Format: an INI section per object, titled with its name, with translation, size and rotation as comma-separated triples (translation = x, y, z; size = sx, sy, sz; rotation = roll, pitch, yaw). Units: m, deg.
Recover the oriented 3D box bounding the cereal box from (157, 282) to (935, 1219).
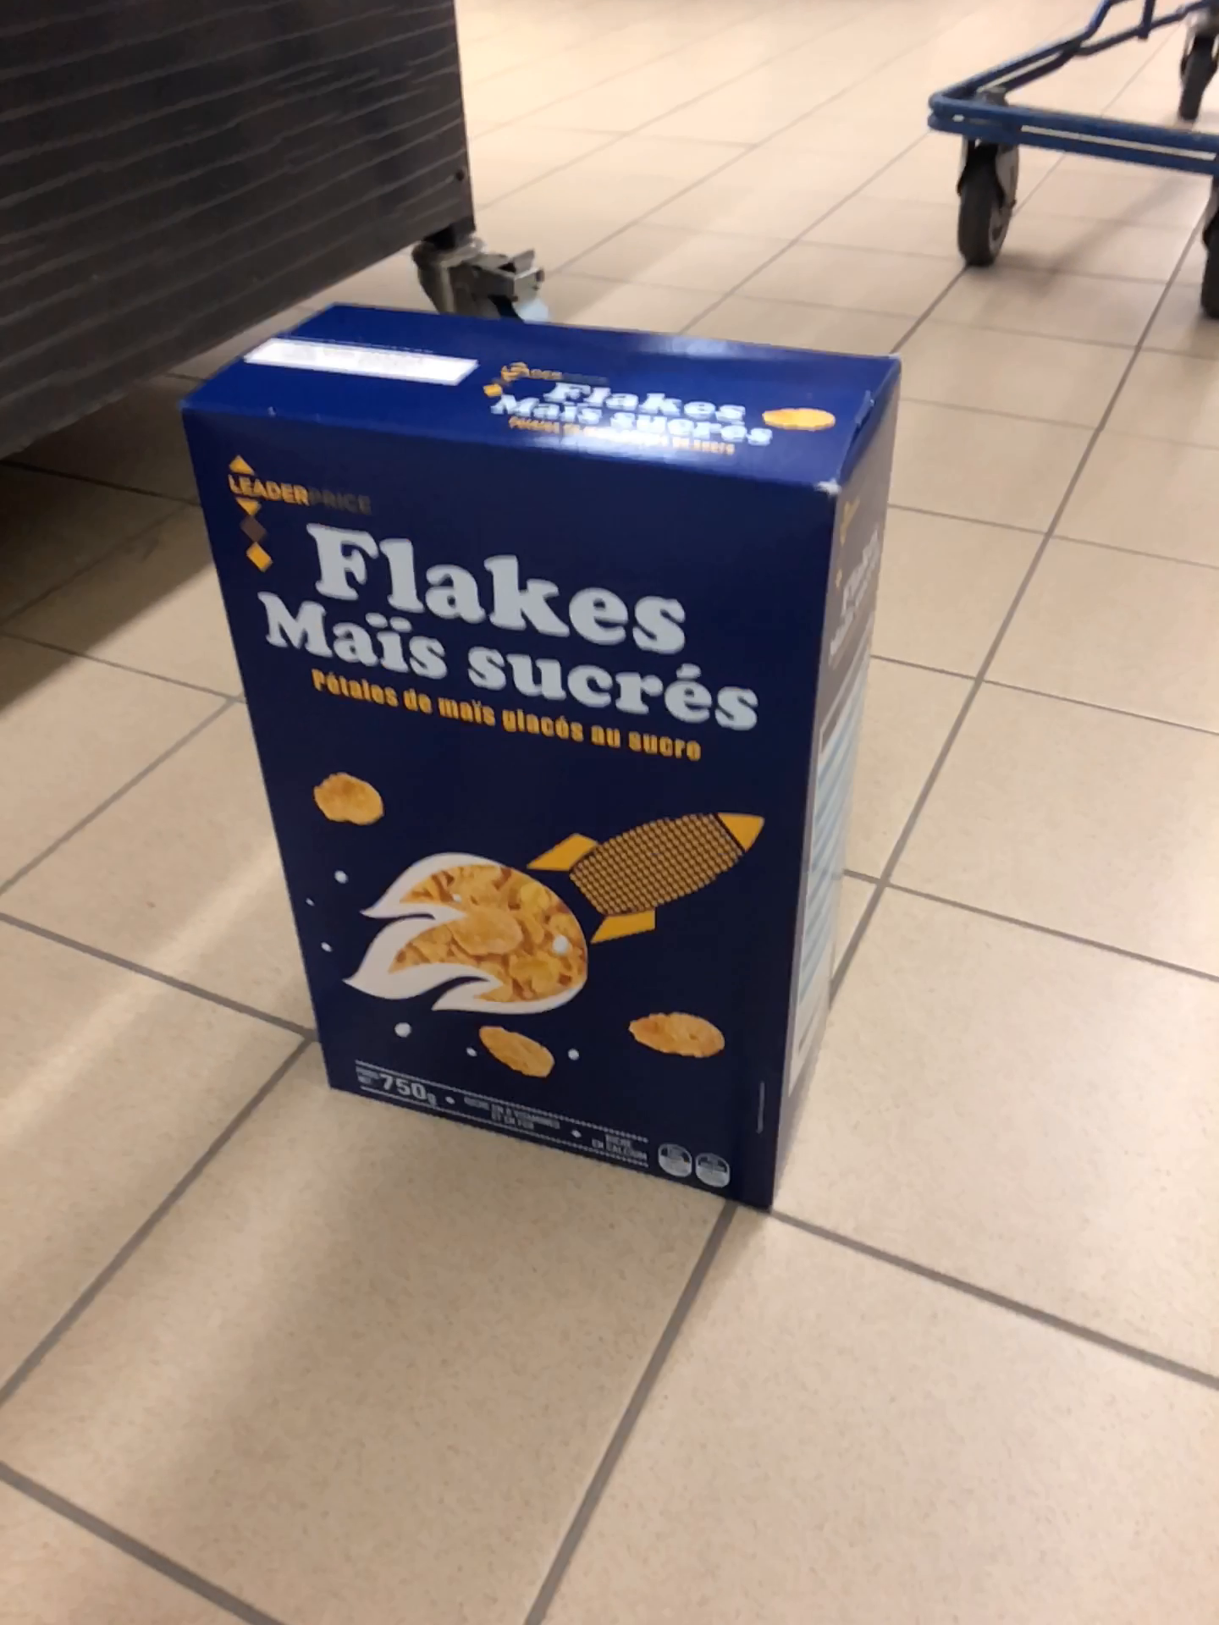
[cereal box]
translation = -0.012, -0.014, 0.493
size = 0.210, 0.308, 0.101
rotation = 11, 39, 17
